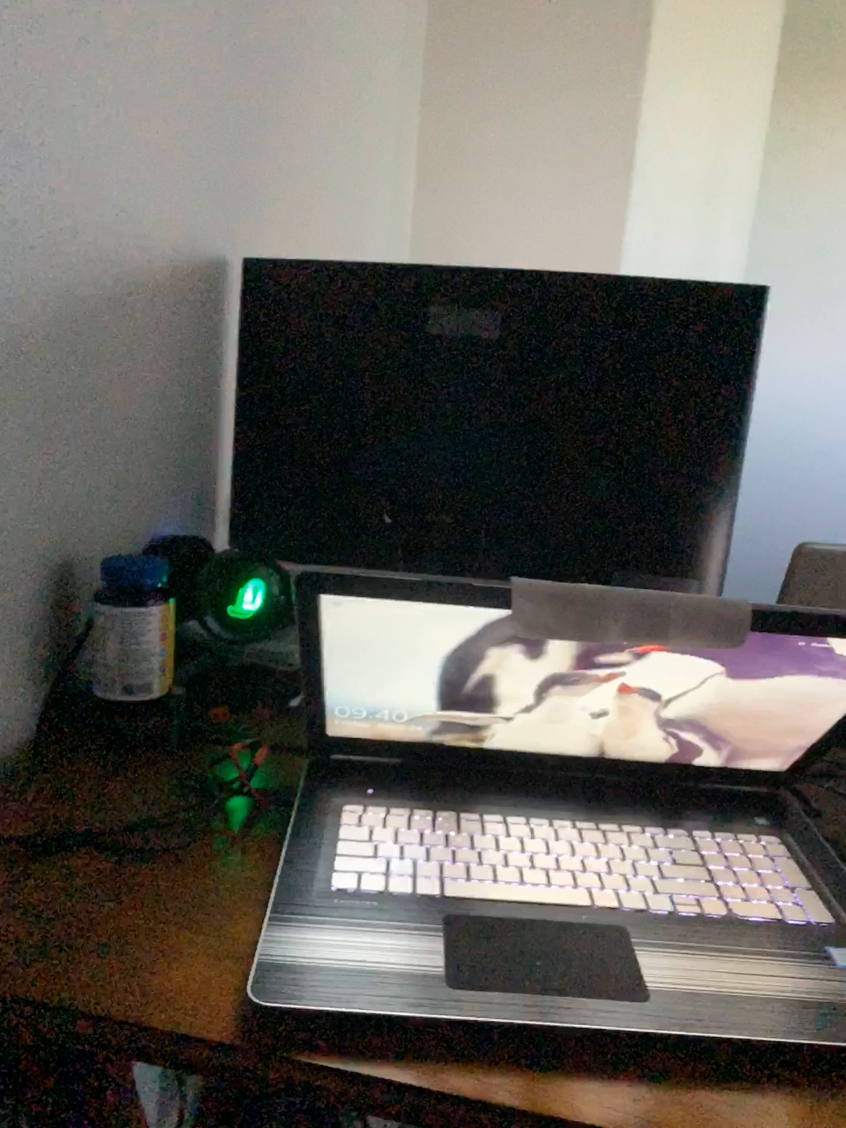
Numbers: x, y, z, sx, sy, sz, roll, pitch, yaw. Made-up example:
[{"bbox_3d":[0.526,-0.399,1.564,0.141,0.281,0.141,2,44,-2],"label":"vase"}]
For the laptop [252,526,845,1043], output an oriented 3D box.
[{"bbox_3d":[0.113,0.116,0.571,0.393,0.187,0.258,5,15,-3],"label":"laptop"}]
